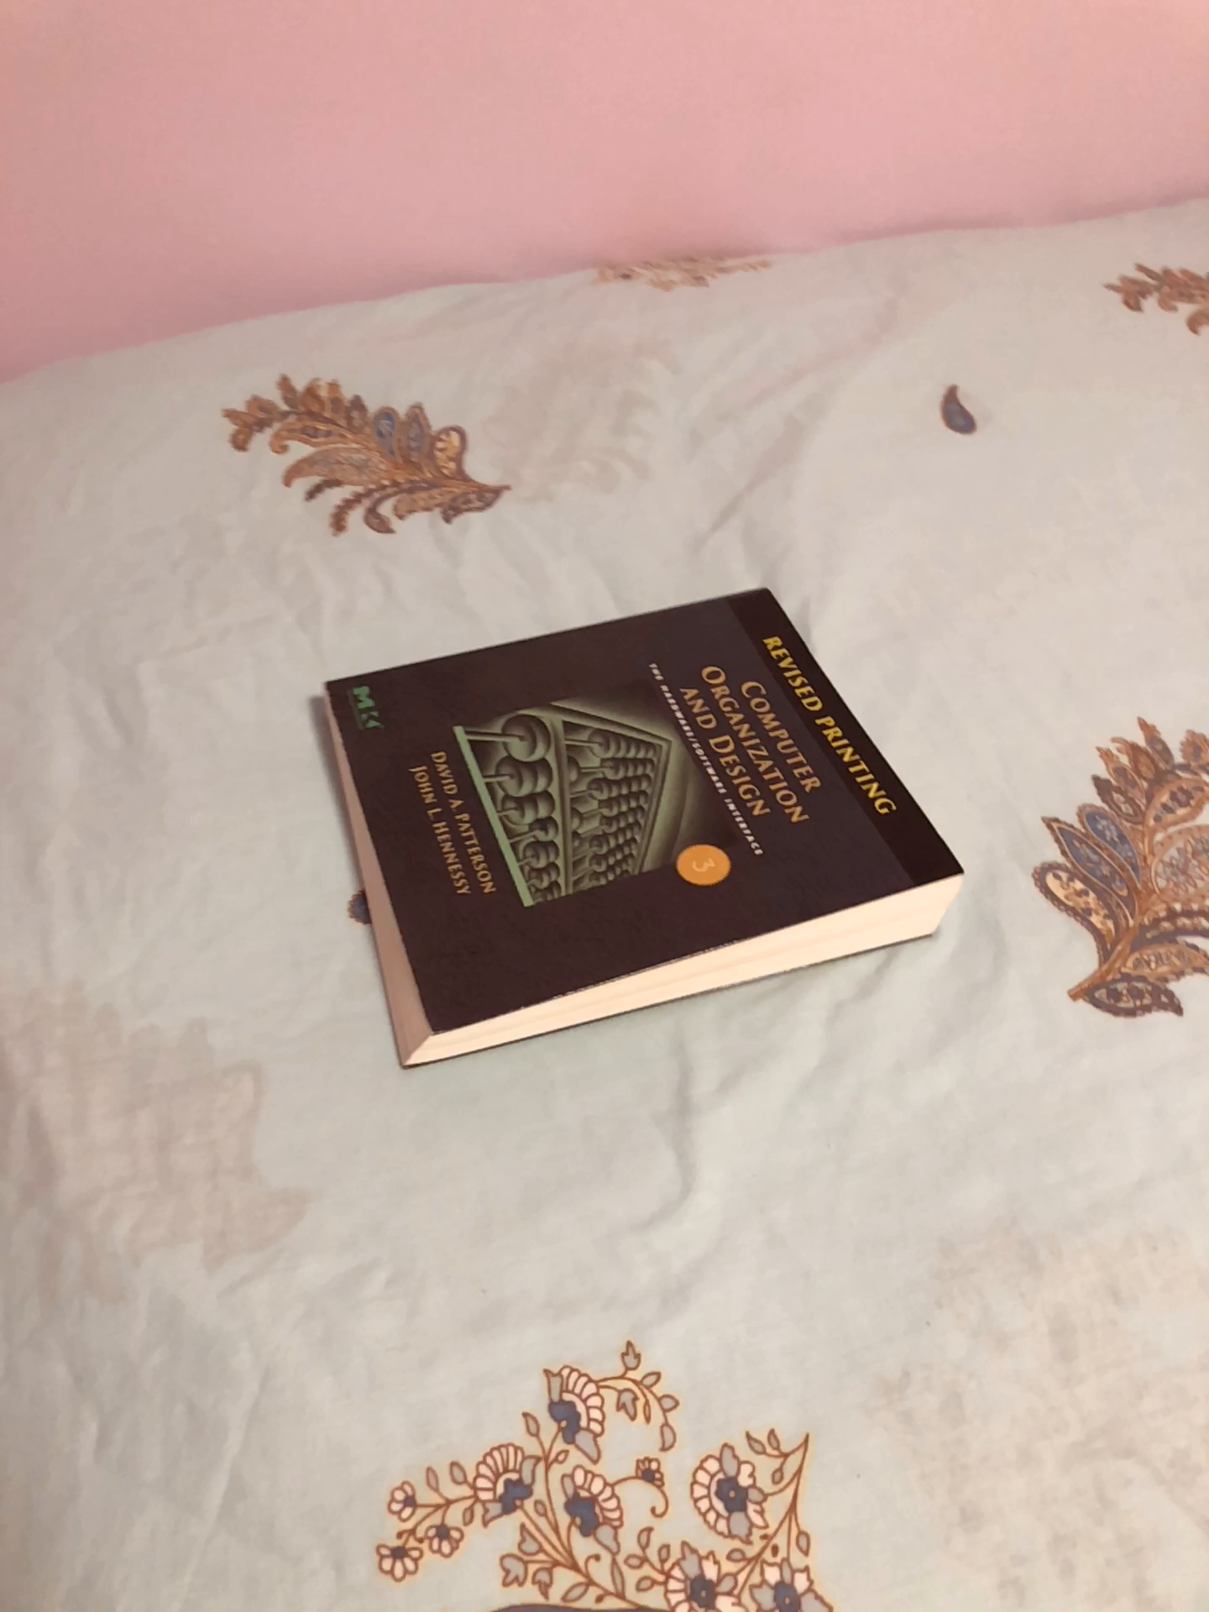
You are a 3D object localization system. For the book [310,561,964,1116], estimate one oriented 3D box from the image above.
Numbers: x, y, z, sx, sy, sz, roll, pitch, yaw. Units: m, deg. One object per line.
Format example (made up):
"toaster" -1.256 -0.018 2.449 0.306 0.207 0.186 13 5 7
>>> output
"book" 0.004 0.002 0.598 0.225 0.073 0.202 -14 52 -13
